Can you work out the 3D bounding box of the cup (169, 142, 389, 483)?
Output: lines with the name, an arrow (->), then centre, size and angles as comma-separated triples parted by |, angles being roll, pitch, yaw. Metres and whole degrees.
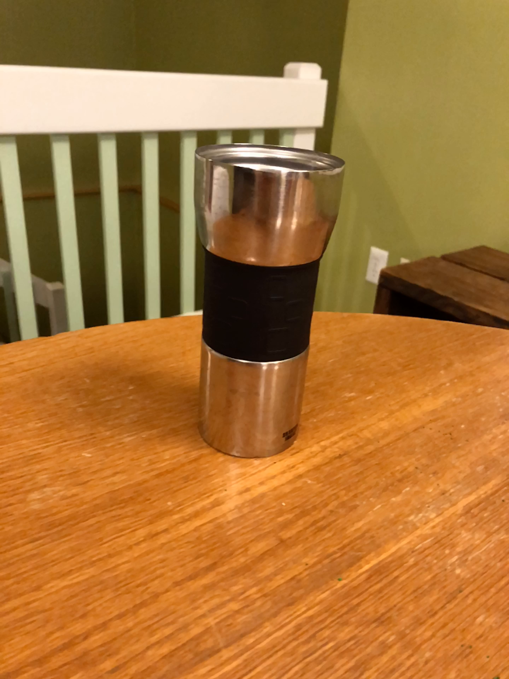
cup -> 0.009, -0.021, 0.344 | 0.083, 0.173, 0.088 | 4, 26, -2
